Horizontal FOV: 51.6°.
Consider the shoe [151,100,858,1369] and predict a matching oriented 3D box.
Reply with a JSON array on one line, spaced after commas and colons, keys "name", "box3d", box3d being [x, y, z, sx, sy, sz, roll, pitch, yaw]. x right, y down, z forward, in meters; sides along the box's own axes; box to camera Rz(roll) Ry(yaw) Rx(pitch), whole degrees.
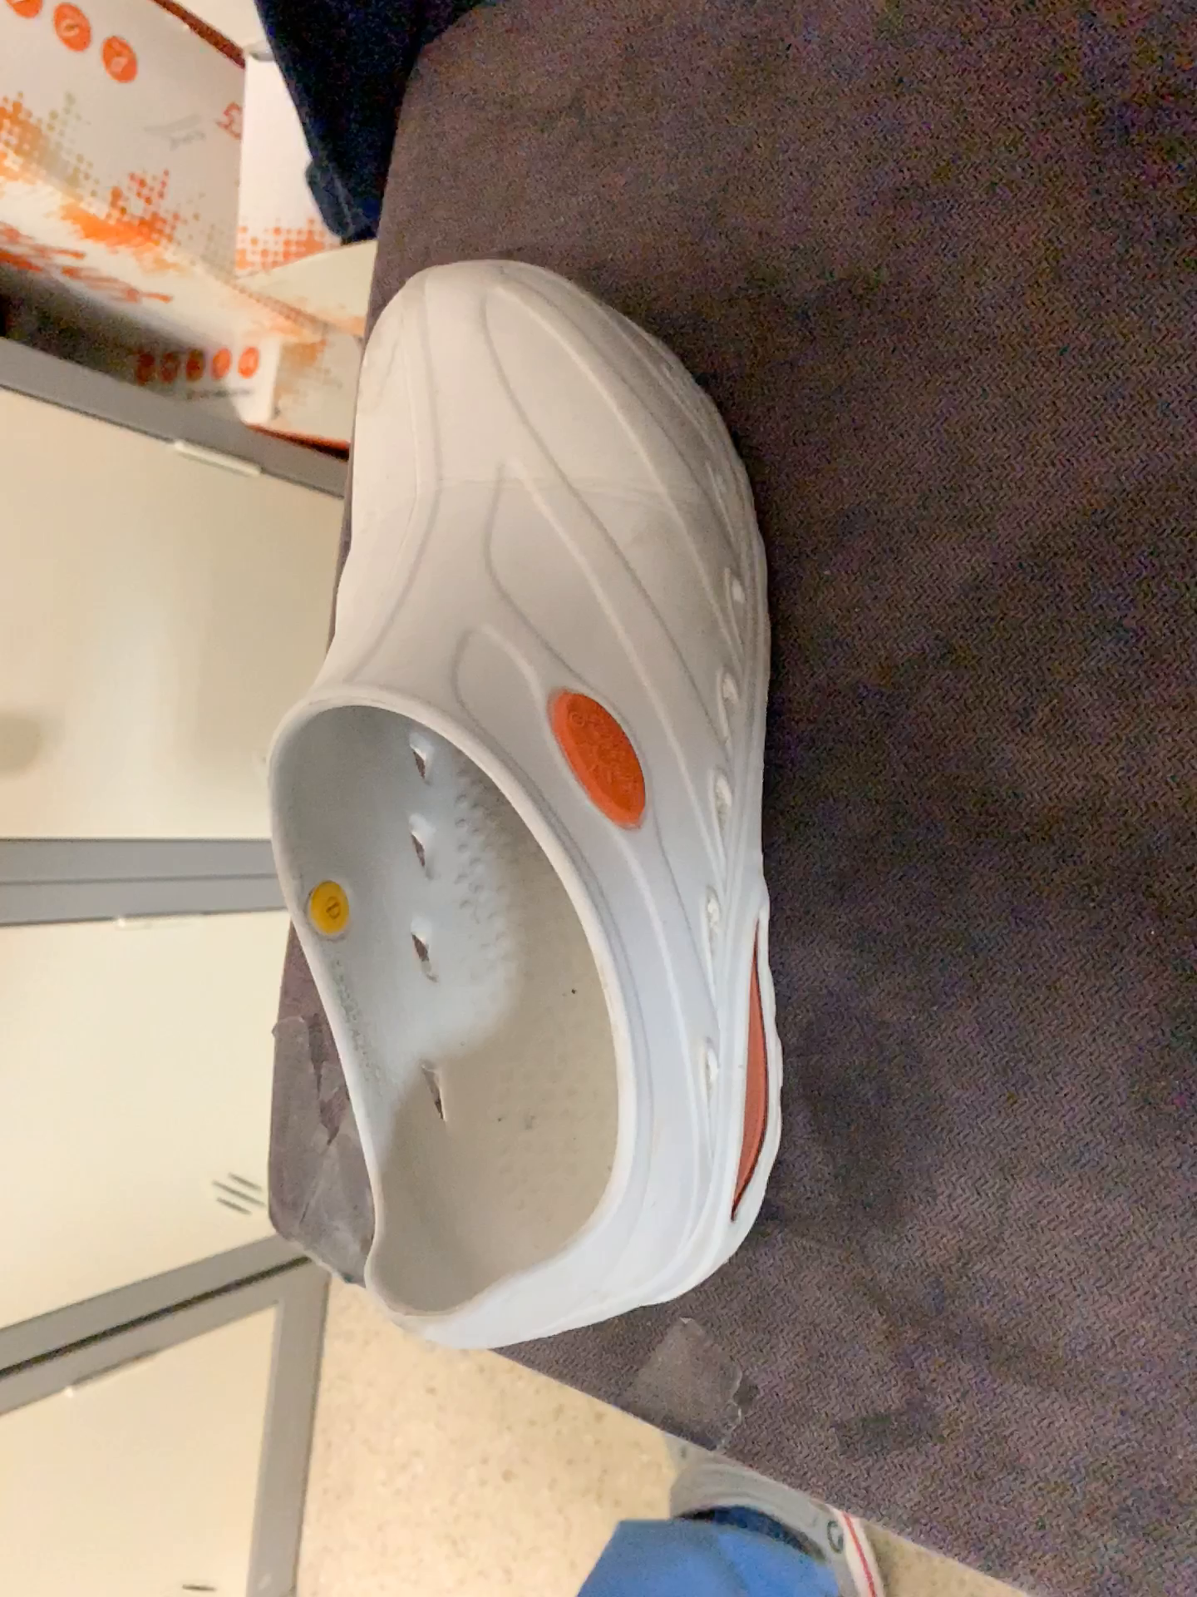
[{"name": "shoe", "box3d": [-0.020, -0.008, 0.267, 0.092, 0.093, 0.213, -12, 81, 33]}]
